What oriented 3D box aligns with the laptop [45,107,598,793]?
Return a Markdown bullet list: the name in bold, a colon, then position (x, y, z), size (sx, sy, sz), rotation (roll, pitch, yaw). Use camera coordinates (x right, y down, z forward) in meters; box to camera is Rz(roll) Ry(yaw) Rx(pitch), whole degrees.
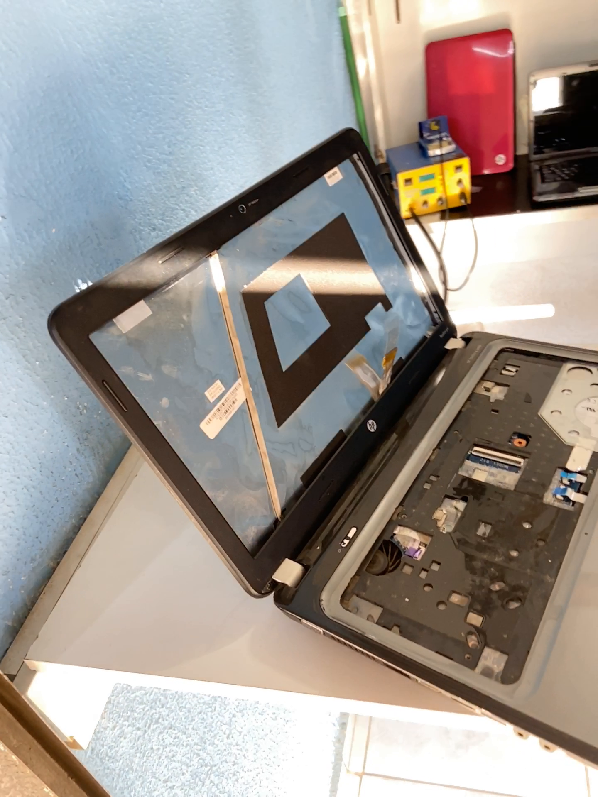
- **laptop**: position (0.102, -0.034, 0.411), size (0.323, 0.194, 0.336), rotation (14, 44, 34)
